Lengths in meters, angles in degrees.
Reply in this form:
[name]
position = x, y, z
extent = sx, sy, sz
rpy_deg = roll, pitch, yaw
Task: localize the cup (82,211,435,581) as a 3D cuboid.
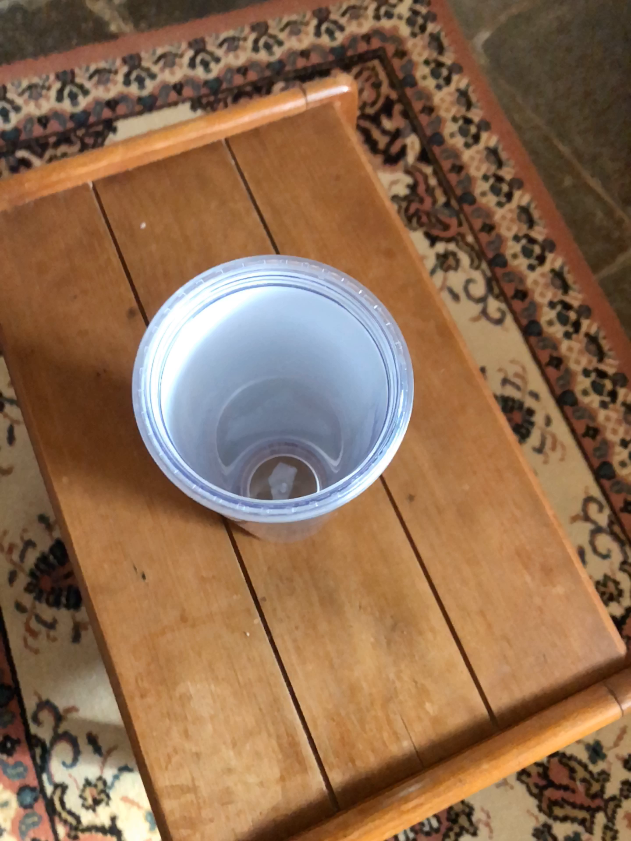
[cup]
position = -0.025, 0.006, 0.326
extent = 0.100, 0.180, 0.100
rpy_deg = 1, 73, -2
